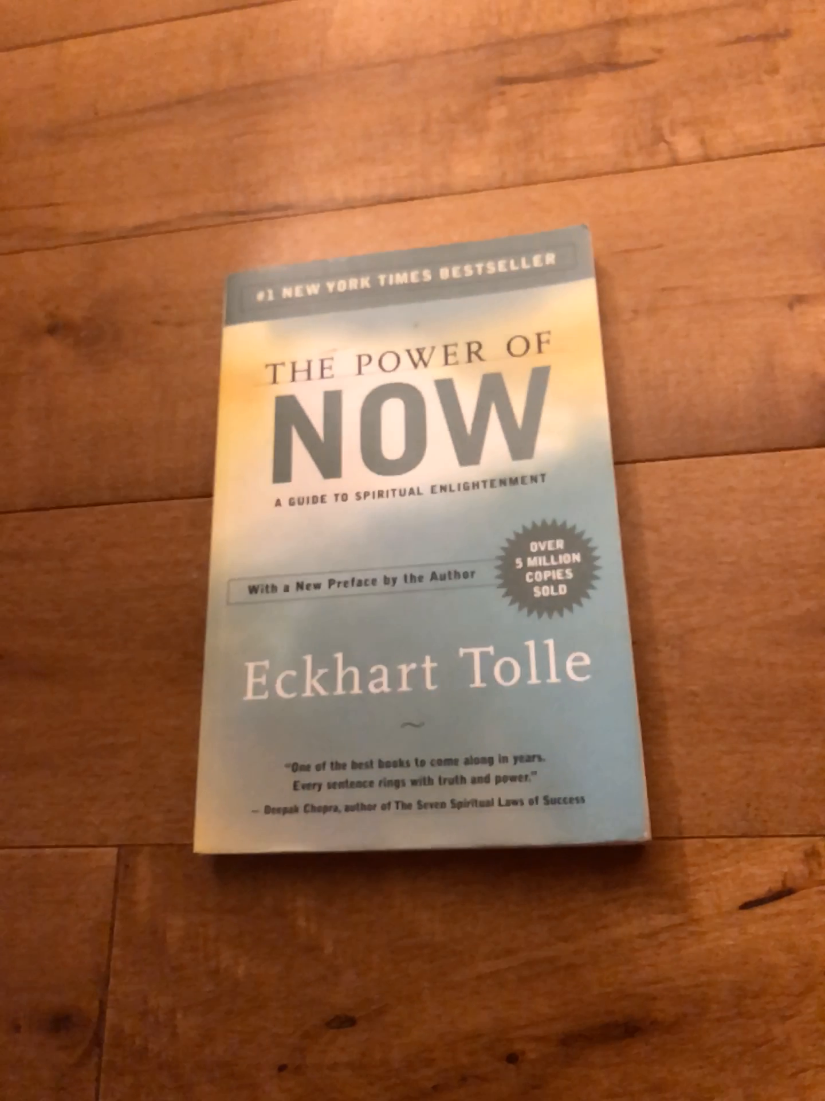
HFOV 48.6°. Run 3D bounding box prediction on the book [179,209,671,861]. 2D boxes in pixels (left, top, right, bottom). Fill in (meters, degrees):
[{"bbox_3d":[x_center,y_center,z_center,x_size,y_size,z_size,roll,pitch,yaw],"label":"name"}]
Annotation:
[{"bbox_3d":[0.001,-0.010,0.321,0.146,0.030,0.222,-5,69,10],"label":"book"}]
